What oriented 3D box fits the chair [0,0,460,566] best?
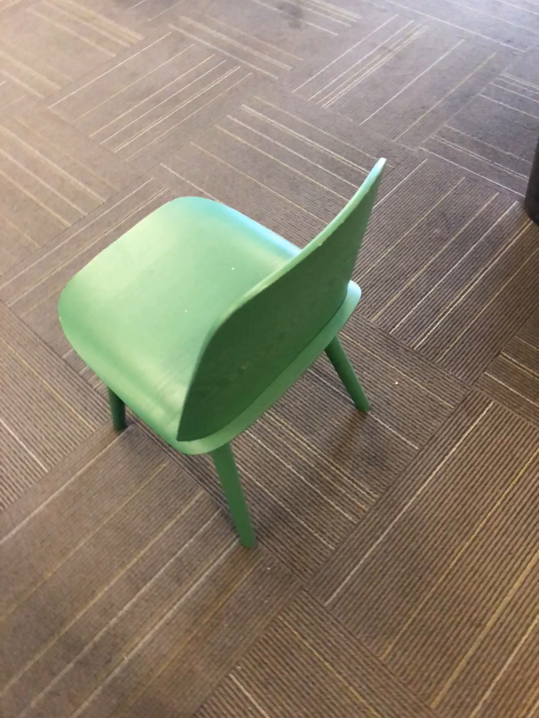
[{"bbox_3d":[-0.093,-0.103,1.038,0.501,0.778,0.500,34,66,24],"label":"chair"}]
